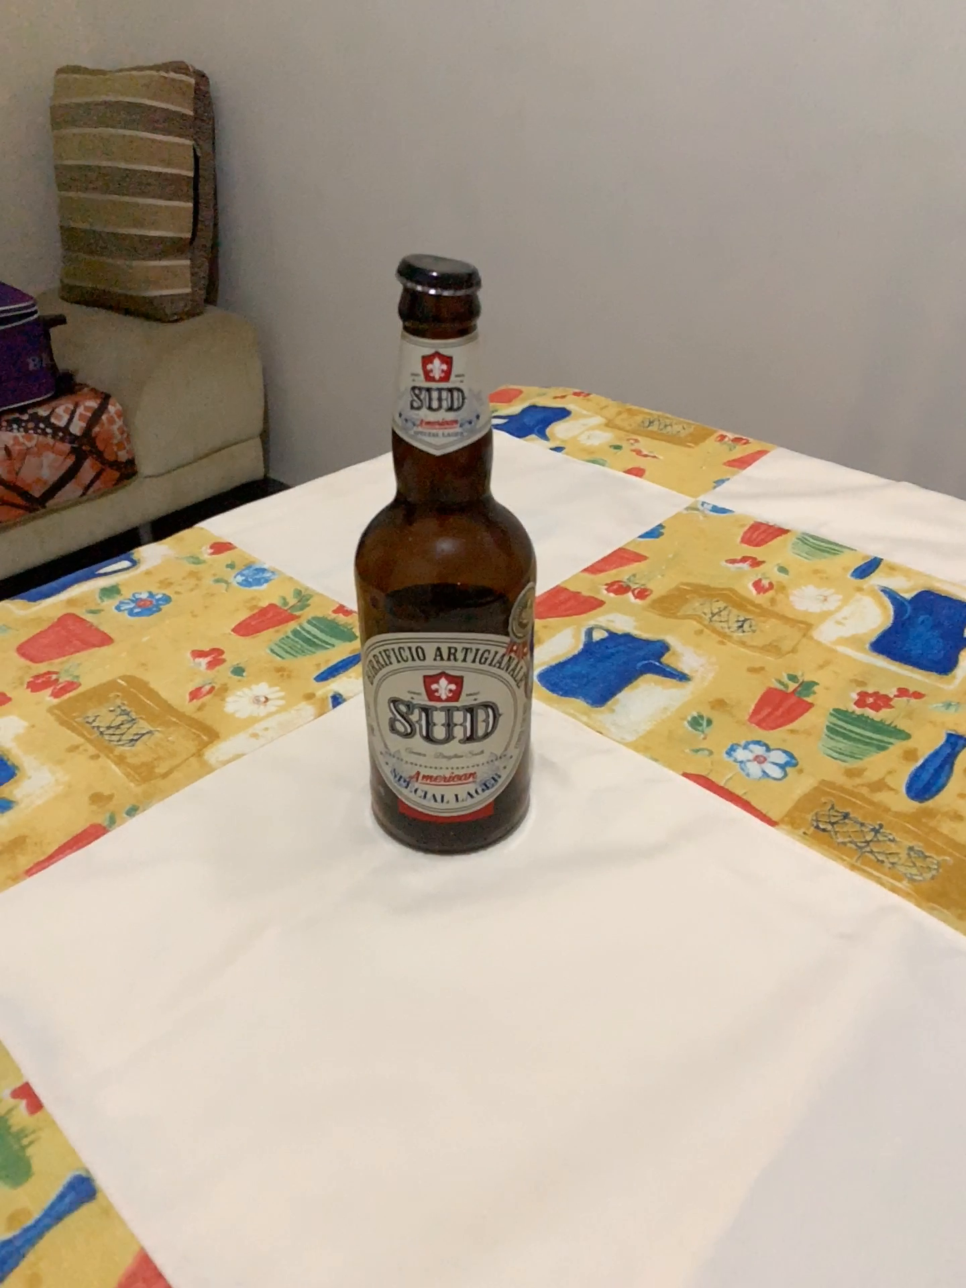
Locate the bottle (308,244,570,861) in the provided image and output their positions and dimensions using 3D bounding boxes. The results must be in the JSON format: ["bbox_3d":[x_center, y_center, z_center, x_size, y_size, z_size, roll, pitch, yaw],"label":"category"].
[{"bbox_3d":[-0.015,-0.026,0.396,0.080,0.239,0.070,0,32,-1],"label":"bottle"}]
